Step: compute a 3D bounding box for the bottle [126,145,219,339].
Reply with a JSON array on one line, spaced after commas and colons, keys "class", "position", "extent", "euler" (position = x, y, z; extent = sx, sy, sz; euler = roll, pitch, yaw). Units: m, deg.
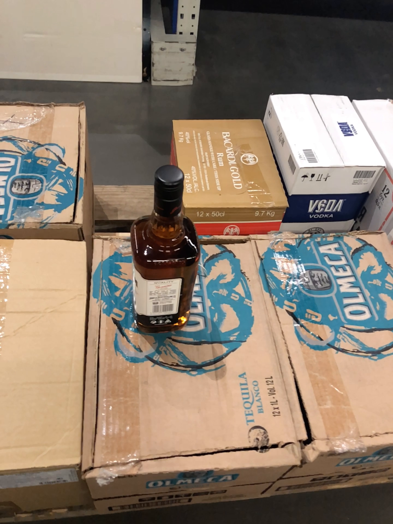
[{"class": "bottle", "position": [-0.039, -0.010, 0.539], "extent": [0.086, 0.258, 0.090], "euler": [4, 51, -4]}]
